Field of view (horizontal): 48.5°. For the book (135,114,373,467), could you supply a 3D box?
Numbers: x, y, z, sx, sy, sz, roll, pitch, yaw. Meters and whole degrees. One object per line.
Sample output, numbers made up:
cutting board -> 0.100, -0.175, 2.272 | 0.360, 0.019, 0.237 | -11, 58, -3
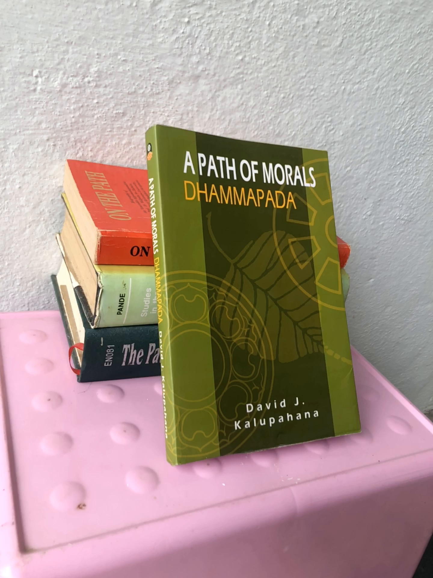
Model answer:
book -> 0.026, -0.002, 0.336 | 0.150, 0.210, 0.040 | 0, -10, -28

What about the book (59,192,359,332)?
book -> -0.014, -0.031, 0.415 | 0.211, 0.040, 0.160 | -1, 30, -27

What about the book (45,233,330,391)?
book -> -0.035, 0.008, 0.433 | 0.211, 0.050, 0.160 | -1, 30, -25

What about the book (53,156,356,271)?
book -> -0.017, -0.067, 0.409 | 0.211, 0.030, 0.160 | -2, 30, -27
